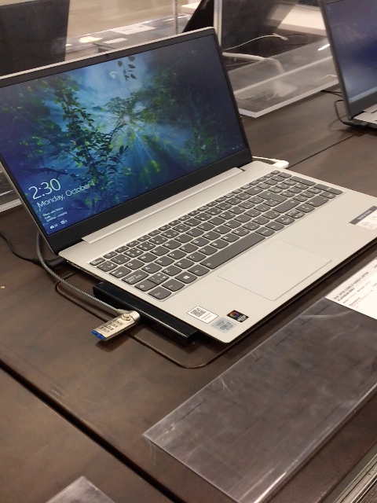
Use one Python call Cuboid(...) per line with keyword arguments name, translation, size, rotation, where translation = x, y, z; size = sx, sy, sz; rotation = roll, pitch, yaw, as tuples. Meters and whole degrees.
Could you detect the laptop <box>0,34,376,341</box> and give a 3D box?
Cuboid(name="laptop", translation=(0.046, -0.106, 0.590), size=(0.335, 0.197, 0.338), rotation=(29, 48, 31))
